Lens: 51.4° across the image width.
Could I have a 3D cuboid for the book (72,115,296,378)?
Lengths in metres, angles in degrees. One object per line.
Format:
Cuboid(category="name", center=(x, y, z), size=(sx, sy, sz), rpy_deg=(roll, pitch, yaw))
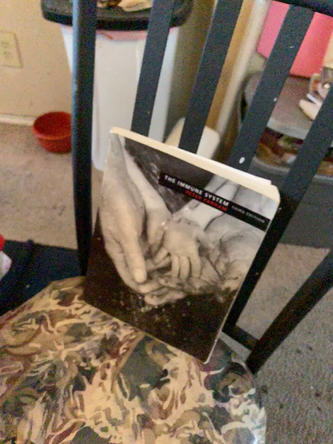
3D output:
Cuboid(category="book", center=(-0.004, 0.037, 0.426), size=(0.220, 0.269, 0.040), rpy_deg=(23, 31, 16))
